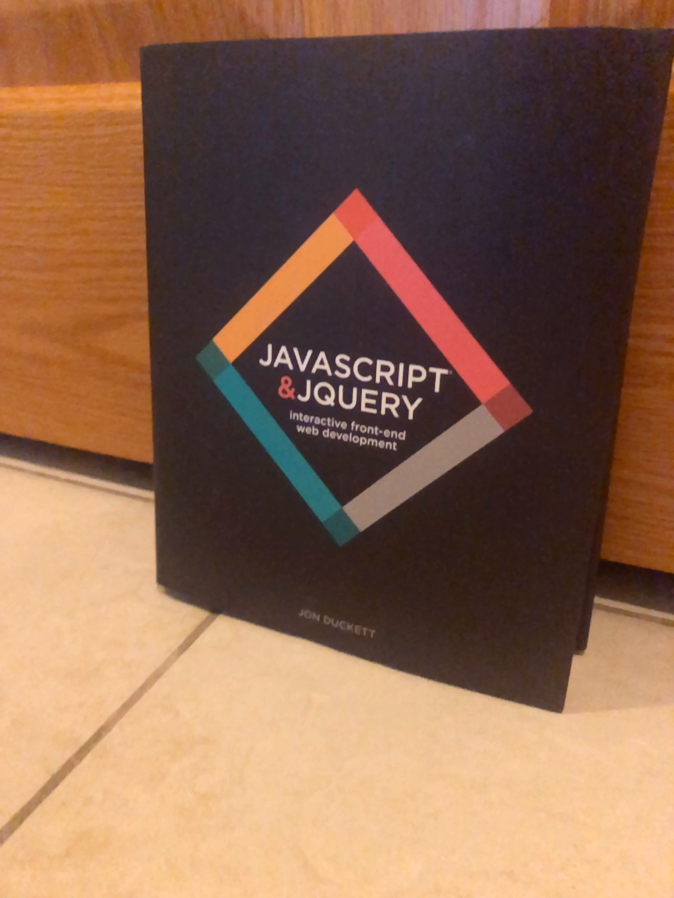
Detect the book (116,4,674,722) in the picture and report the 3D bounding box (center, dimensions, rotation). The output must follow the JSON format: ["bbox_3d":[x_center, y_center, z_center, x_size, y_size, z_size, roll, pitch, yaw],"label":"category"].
[{"bbox_3d":[0.013,-0.036,0.311,0.200,0.237,0.060,10,19,24],"label":"book"}]
